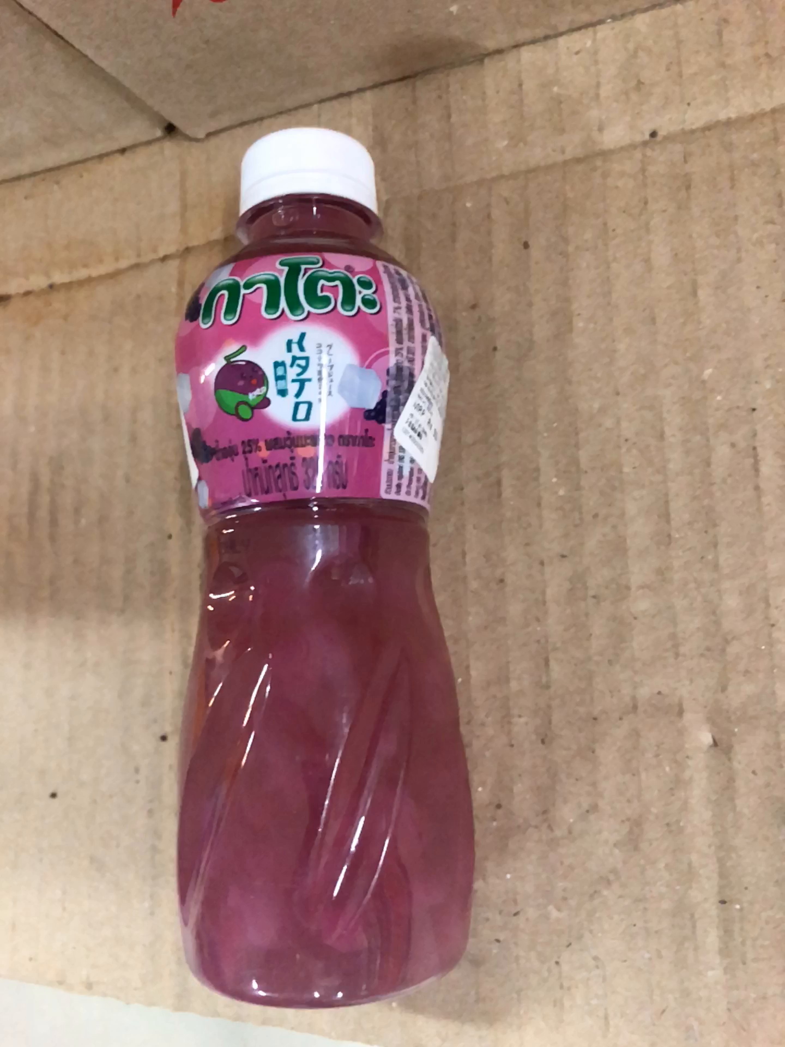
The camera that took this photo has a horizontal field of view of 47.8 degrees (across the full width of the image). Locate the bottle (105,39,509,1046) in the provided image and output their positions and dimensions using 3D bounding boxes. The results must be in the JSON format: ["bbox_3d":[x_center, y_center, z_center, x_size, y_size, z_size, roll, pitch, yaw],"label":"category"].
[{"bbox_3d":[-0.015,0.004,0.175,0.060,0.050,0.170,-4,81,15],"label":"bottle"}]
